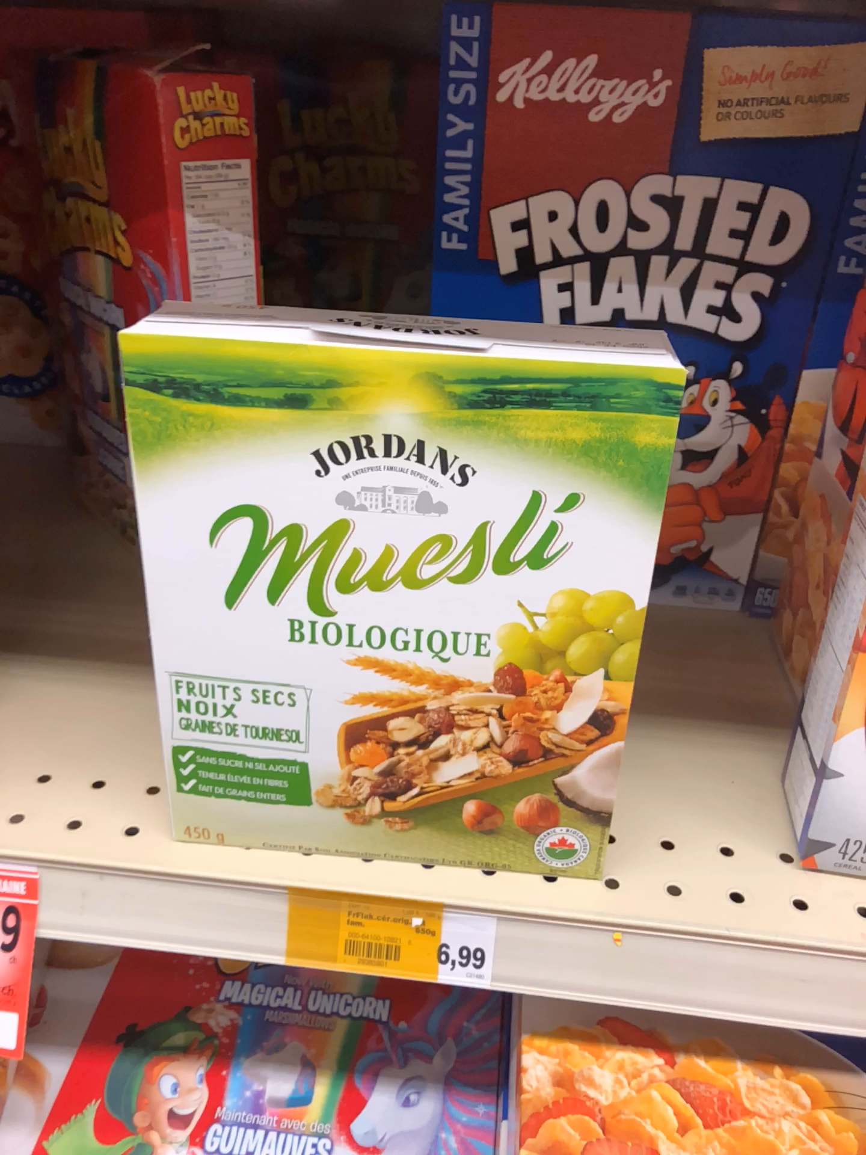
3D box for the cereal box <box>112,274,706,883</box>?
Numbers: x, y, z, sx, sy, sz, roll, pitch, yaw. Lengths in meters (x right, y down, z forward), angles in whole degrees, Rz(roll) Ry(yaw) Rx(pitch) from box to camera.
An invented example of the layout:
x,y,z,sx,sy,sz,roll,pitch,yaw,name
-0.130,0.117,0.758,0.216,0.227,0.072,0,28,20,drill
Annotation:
x,y,z,sx,sy,sz,roll,pitch,yaw,name
-0.012,0.009,0.364,0.180,0.218,0.050,5,29,3,cereal box
